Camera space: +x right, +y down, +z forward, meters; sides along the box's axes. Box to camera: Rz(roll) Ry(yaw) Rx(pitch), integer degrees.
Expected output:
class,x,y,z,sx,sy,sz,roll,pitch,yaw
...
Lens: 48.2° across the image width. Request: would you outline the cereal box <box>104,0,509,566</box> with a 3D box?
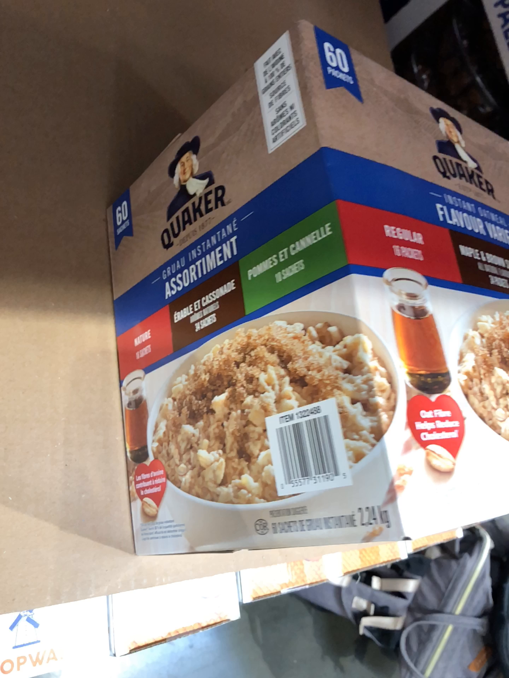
class,x,y,z,sx,sy,sz,roll,pitch,yaw
cereal box,0.066,-0.012,0.378,0.241,0.199,0.260,5,68,-40
